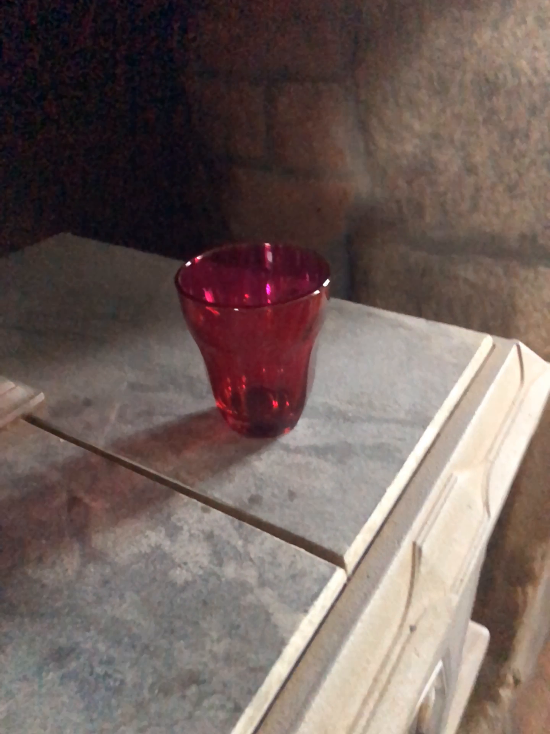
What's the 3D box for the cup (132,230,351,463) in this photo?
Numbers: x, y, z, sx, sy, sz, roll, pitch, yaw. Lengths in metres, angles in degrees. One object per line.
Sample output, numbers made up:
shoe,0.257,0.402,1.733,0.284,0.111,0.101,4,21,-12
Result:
cup,-0.011,-0.014,0.299,0.080,0.079,0.071,9,35,17
